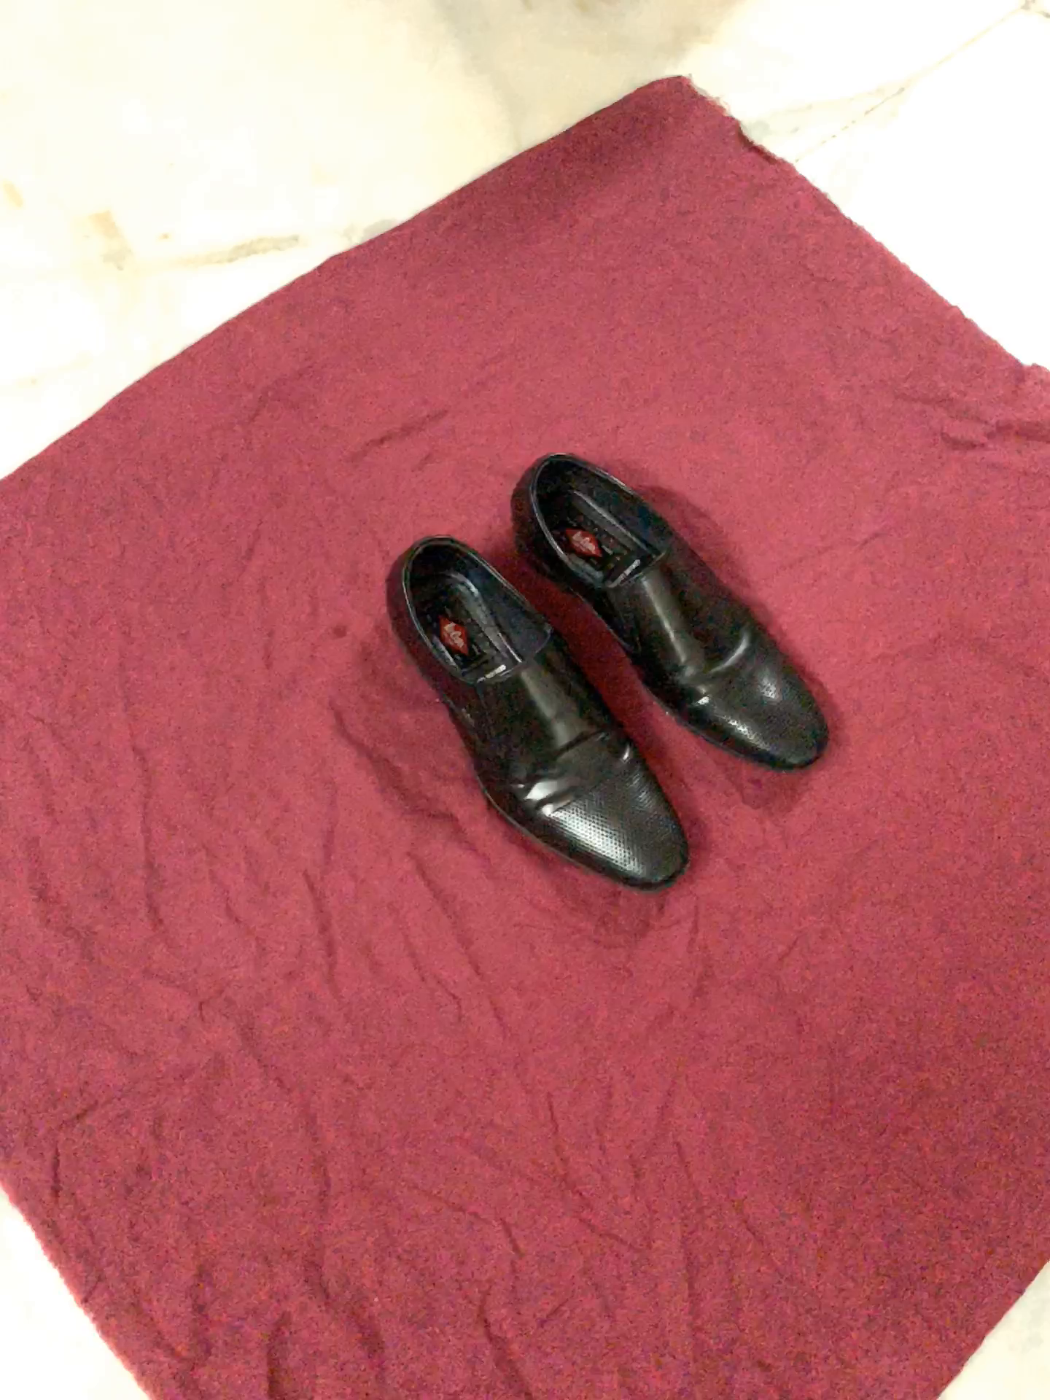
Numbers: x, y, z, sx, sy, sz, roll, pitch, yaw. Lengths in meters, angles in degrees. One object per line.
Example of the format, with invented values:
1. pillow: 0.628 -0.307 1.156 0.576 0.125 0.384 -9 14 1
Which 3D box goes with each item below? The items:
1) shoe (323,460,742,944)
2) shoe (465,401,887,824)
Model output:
1. shoe: -0.003 -0.001 0.707 0.100 0.100 0.301 -33 72 -14
2. shoe: 0.093 -0.062 0.755 0.100 0.100 0.291 -41 74 -16
